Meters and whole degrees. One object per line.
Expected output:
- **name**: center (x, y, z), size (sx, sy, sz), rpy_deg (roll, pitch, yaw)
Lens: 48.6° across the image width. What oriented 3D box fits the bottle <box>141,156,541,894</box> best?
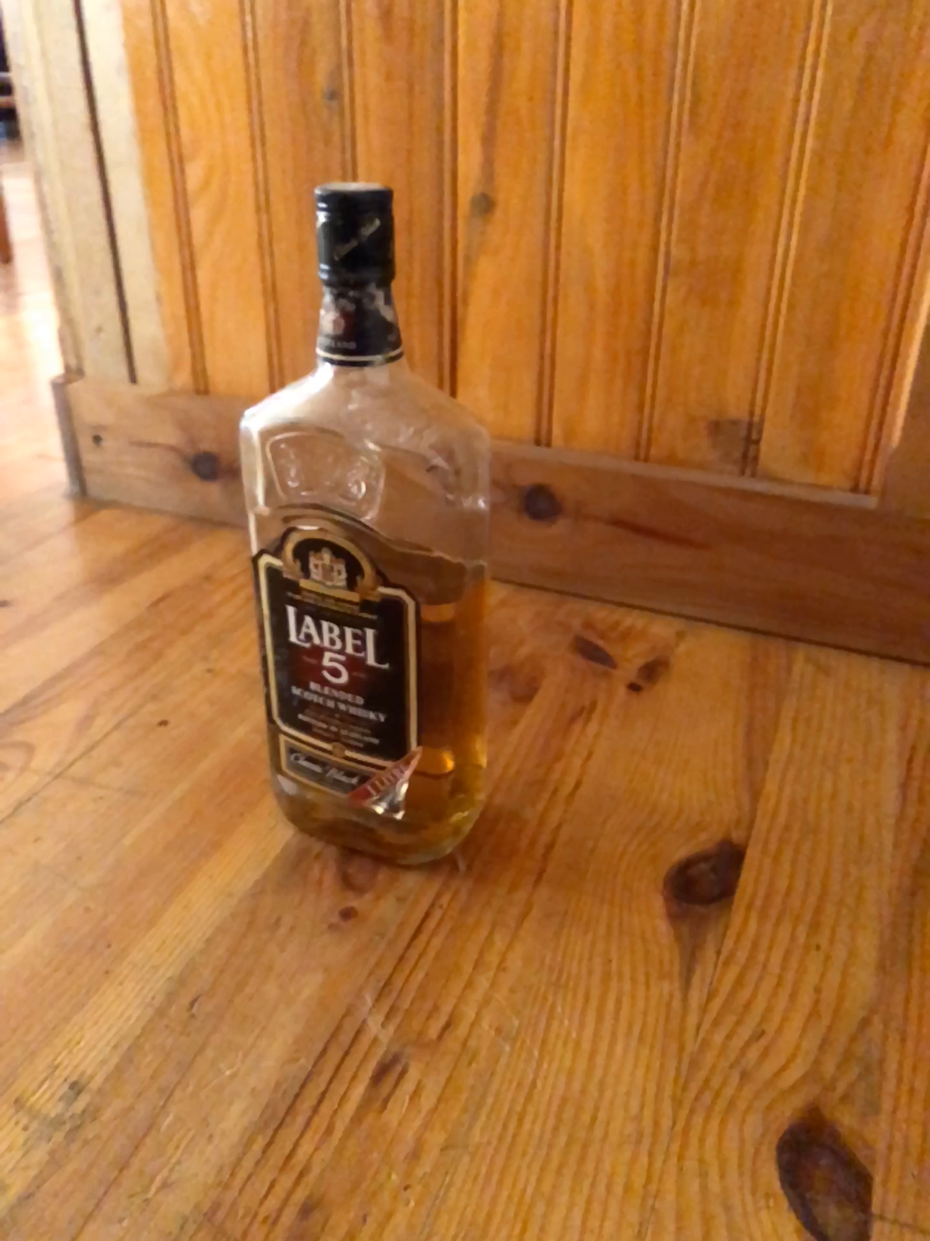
- **bottle**: center (-0.045, -0.036, 0.443), size (0.120, 0.288, 0.081), rpy_deg (15, 32, 24)
